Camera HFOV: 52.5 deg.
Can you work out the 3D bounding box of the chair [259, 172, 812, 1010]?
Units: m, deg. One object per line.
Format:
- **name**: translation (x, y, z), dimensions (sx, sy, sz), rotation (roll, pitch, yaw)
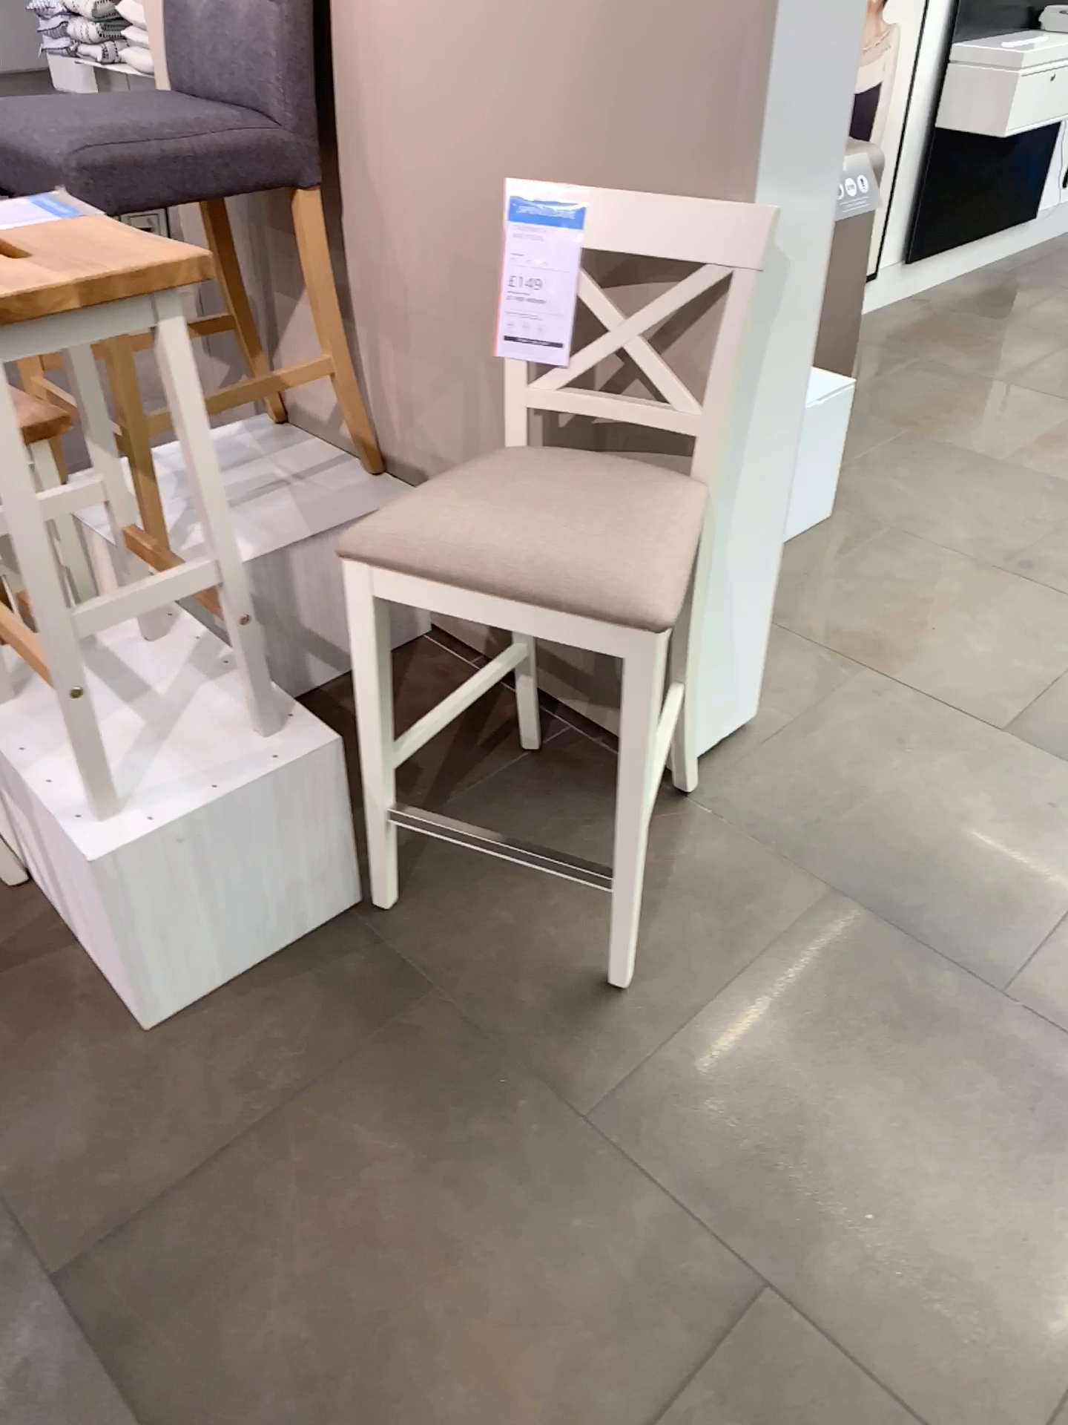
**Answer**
- **chair**: translation (0.032, -0.166, 1.505), dimensions (0.450, 0.938, 0.542), rotation (15, 39, 19)
